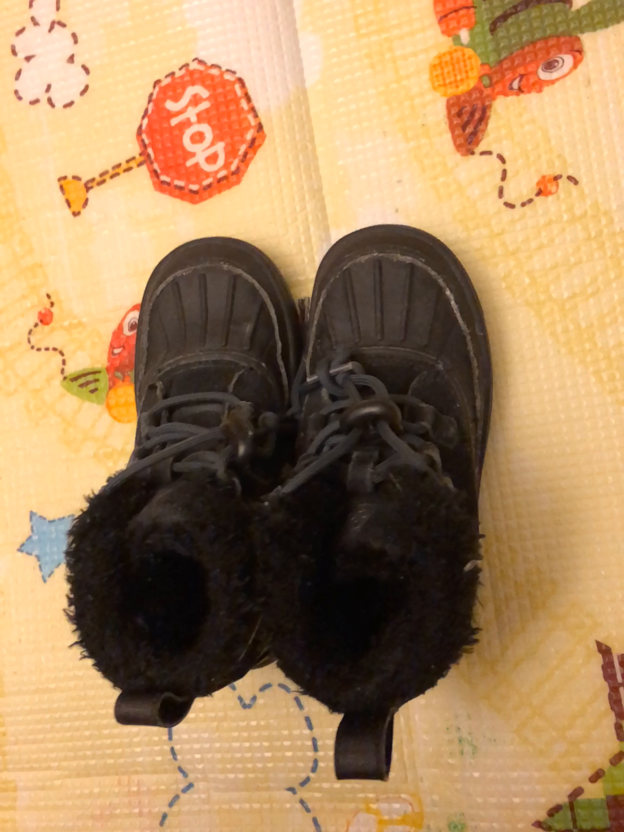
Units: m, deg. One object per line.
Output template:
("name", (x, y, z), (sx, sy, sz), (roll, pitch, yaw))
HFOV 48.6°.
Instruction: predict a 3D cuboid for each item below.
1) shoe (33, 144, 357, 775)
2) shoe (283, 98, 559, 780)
("shoe", (-0.041, 0.017, 0.299), (0.090, 0.120, 0.210), (-4, 87, 13))
("shoe", (0.046, 0.008, 0.287), (0.090, 0.110, 0.220), (0, 87, 13))
